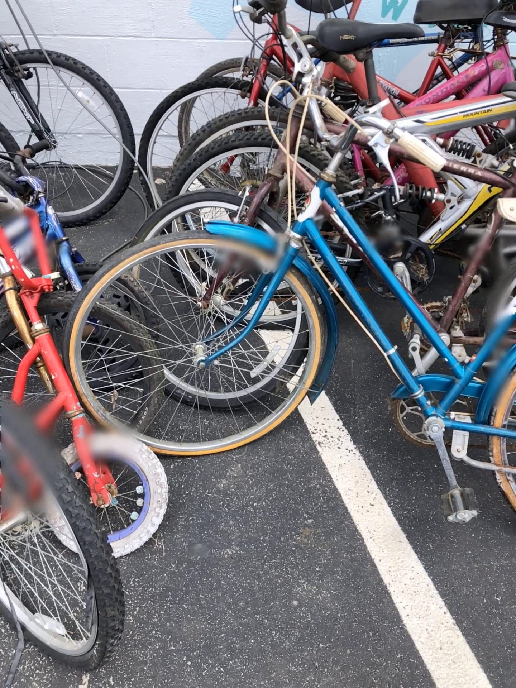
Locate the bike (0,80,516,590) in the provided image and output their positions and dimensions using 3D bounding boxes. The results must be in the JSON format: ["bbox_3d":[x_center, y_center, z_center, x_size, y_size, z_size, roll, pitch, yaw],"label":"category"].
[{"bbox_3d":[0.355,-0.034,1.201,1.480,0.760,0.478,9,40,9],"label":"bike"}]
